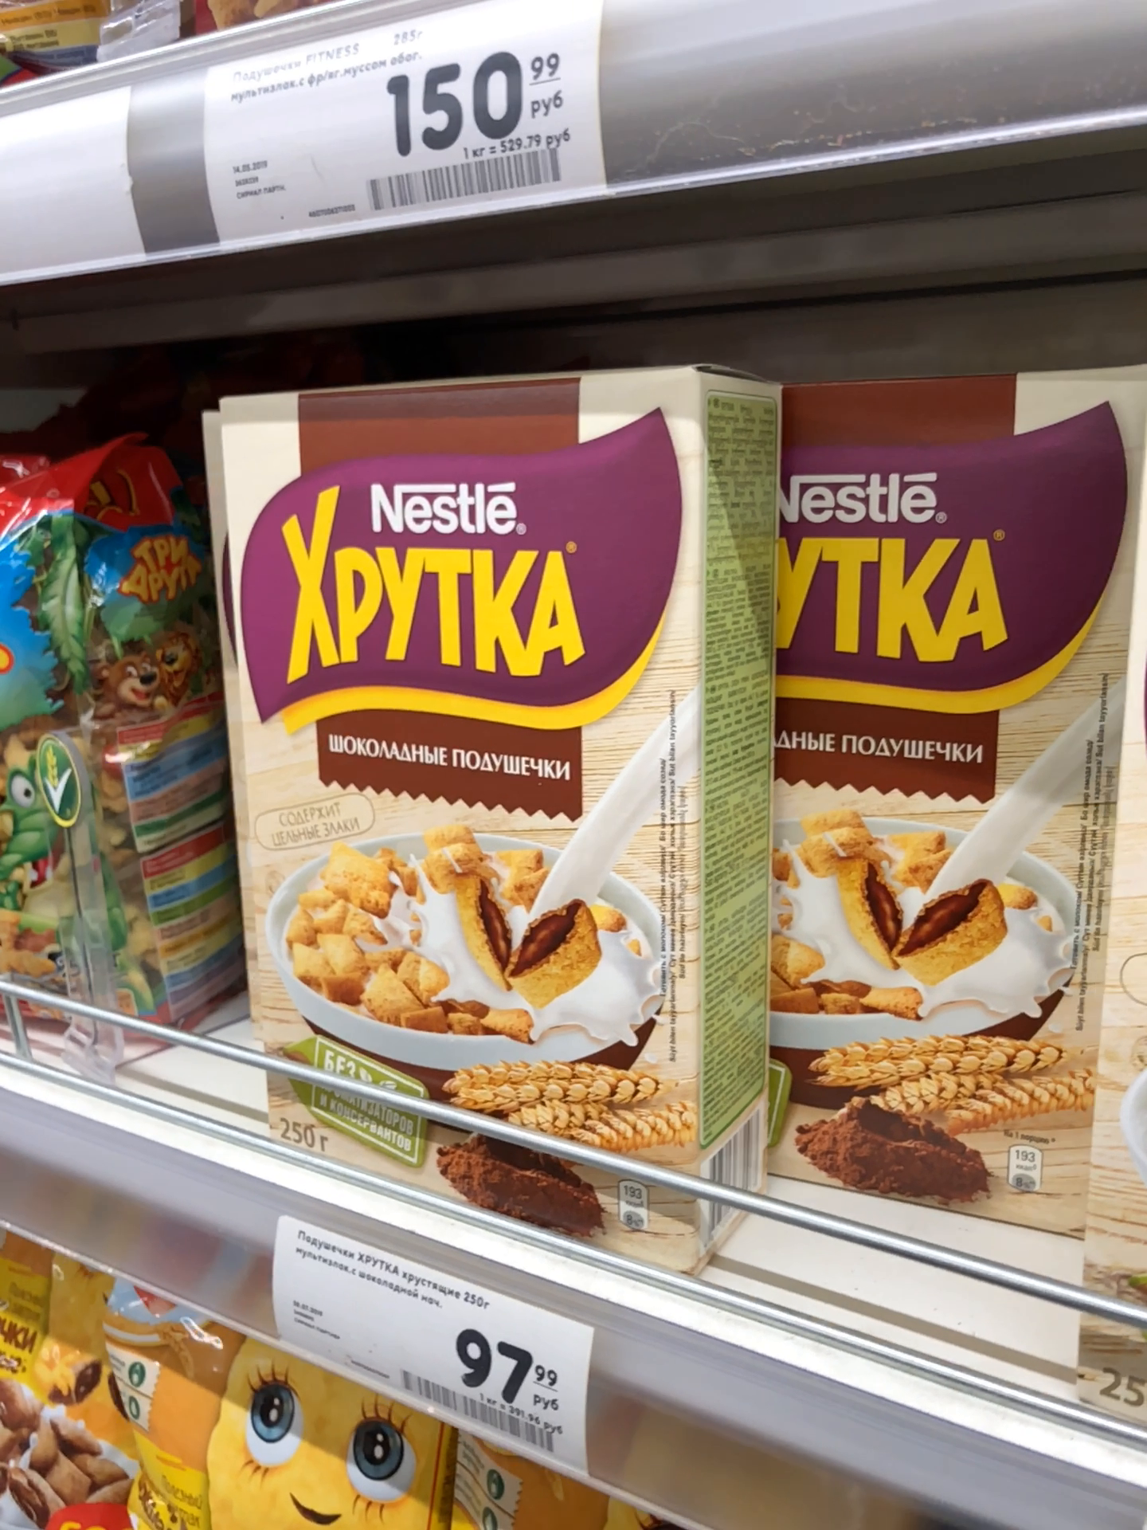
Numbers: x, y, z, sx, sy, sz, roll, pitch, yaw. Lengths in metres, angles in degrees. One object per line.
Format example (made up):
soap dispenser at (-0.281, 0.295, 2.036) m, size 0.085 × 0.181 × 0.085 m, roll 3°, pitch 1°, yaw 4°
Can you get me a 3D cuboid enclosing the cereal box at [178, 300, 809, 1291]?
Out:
cereal box at (-0.025, 0.003, 0.334) m, size 0.160 × 0.219 × 0.040 m, roll 7°, pitch 13°, yaw 31°
